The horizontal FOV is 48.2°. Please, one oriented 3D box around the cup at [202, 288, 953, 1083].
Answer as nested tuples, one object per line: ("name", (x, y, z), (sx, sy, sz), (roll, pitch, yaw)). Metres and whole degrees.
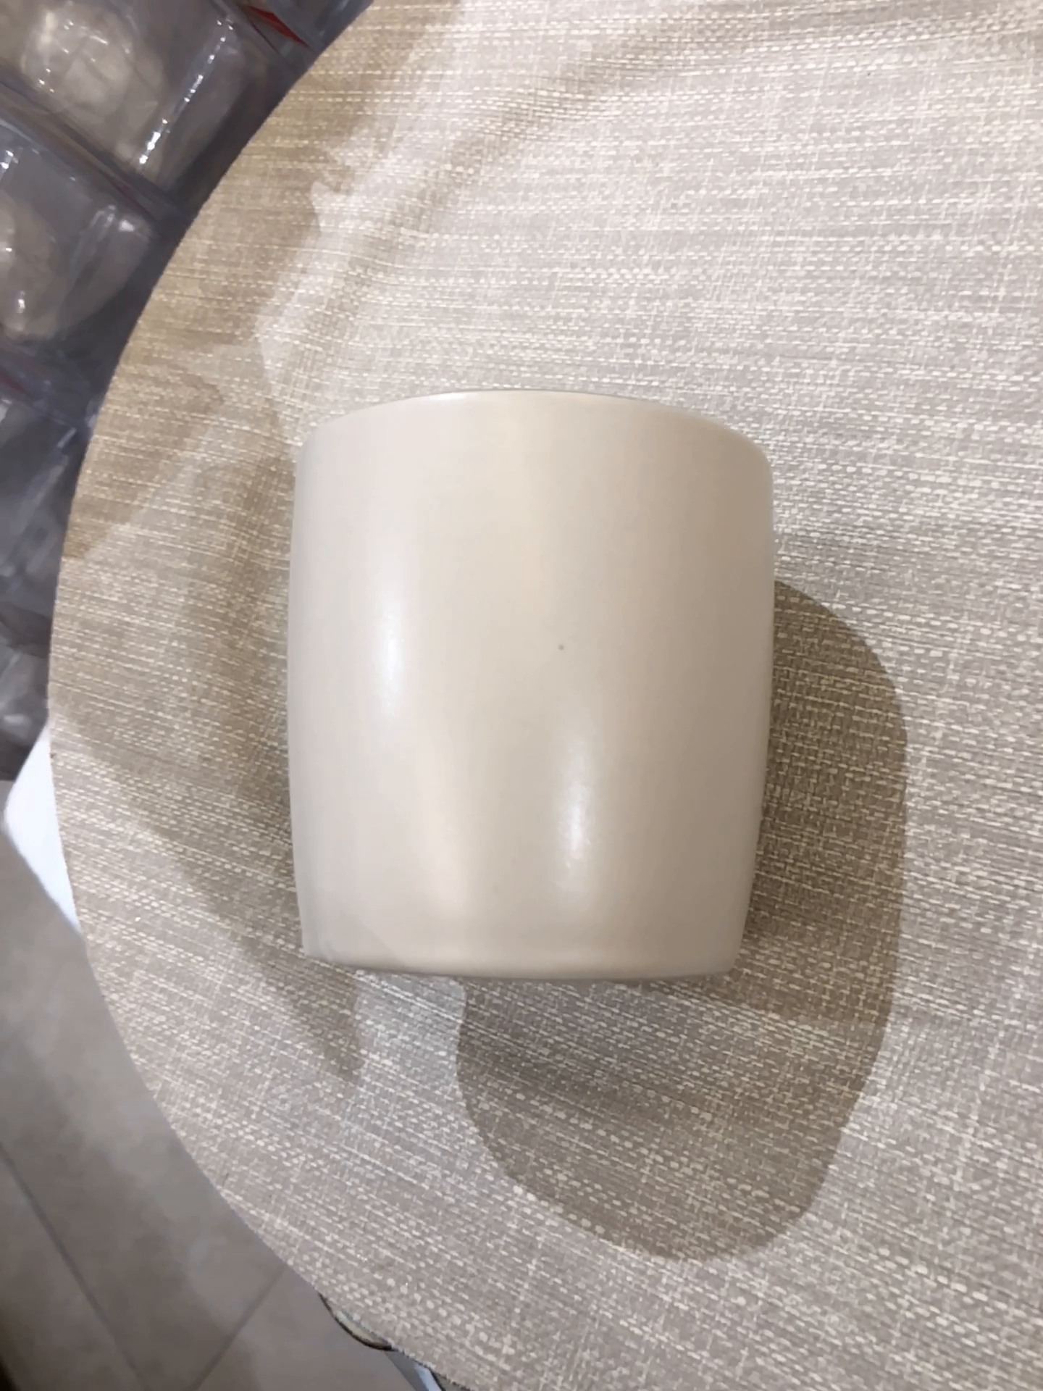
("cup", (0.001, 0.007, 0.192), (0.100, 0.080, 0.090), (-18, 69, 62))
